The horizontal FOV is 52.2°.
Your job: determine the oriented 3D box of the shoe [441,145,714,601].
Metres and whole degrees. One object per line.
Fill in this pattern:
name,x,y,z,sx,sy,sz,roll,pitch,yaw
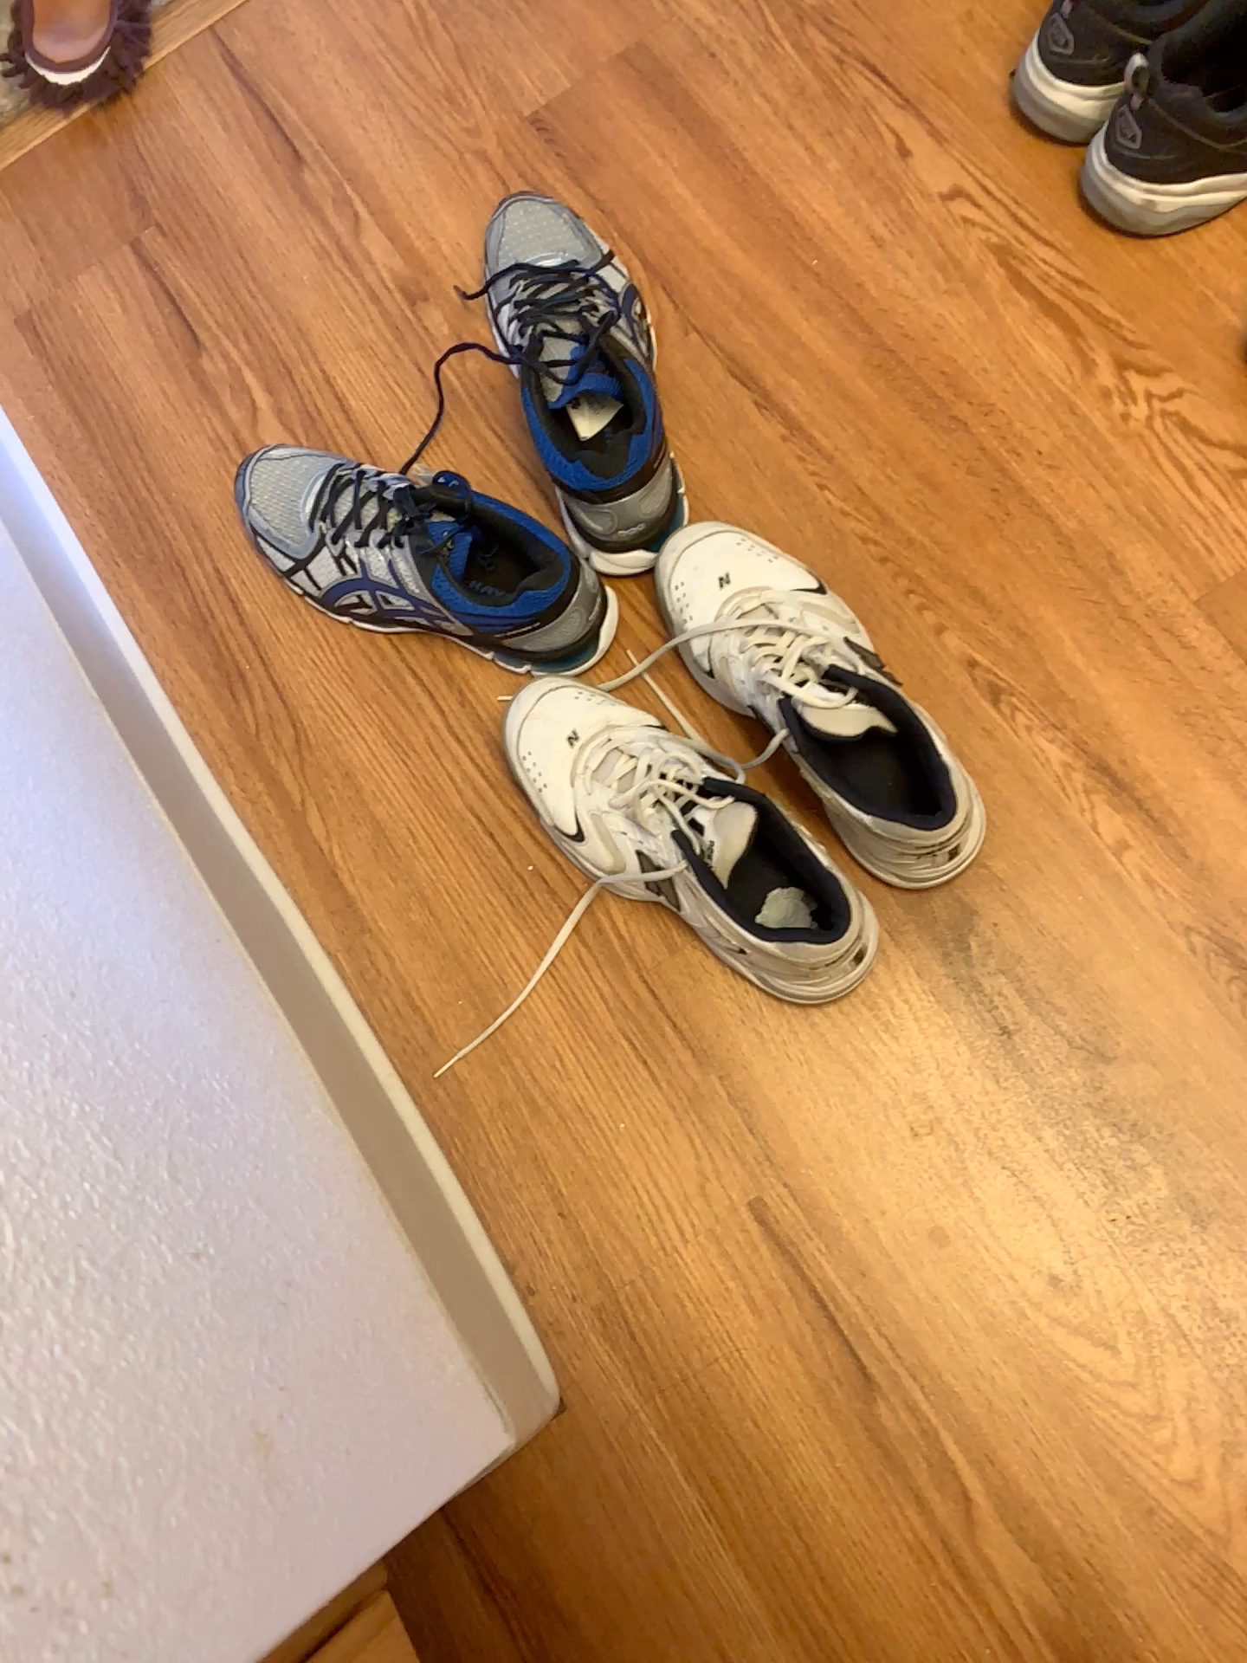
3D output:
shoe,-0.033,-0.324,0.902,0.110,0.080,0.290,-17,74,5

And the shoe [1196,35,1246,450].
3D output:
shoe,0.550,-0.373,0.824,0.290,0.110,0.110,-19,74,5

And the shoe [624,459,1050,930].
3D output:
shoe,0.130,-0.083,0.812,0.110,0.130,0.260,-37,73,0

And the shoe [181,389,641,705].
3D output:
shoe,-0.147,-0.200,0.891,0.290,0.080,0.110,22,81,14

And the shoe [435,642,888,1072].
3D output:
shoe,0.027,0.020,0.828,0.270,0.130,0.110,40,86,16

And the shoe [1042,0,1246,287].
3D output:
shoe,0.458,-0.502,0.845,0.310,0.100,0.120,-22,74,4

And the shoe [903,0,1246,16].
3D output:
shoe,0.377,-0.743,0.935,0.310,0.090,0.120,-21,74,4

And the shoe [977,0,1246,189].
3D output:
shoe,0.419,-0.596,0.878,0.310,0.100,0.120,-27,74,3
